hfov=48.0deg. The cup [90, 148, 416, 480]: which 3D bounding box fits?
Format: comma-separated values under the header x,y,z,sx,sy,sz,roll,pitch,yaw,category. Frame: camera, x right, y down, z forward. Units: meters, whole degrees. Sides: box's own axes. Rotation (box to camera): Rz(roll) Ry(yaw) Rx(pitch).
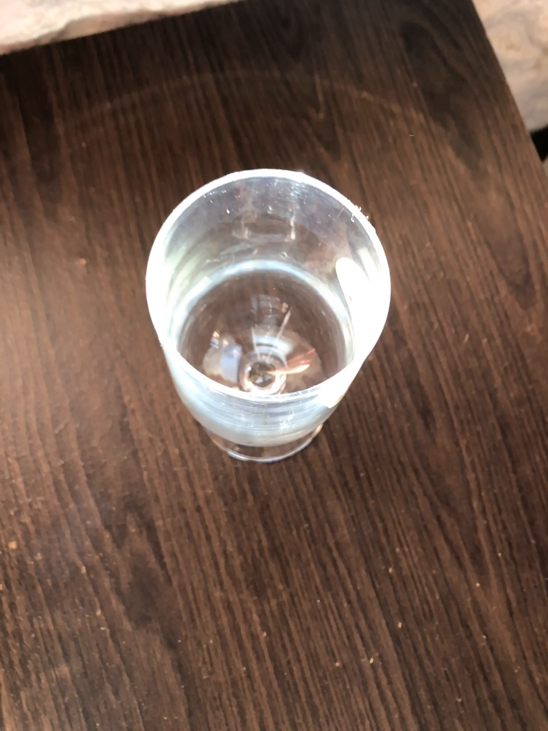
x,y,z,sx,sy,sz,roll,pitch,yaw,category
-0.004,-0.001,0.224,0.070,0.156,0.067,0,77,-1,cup
